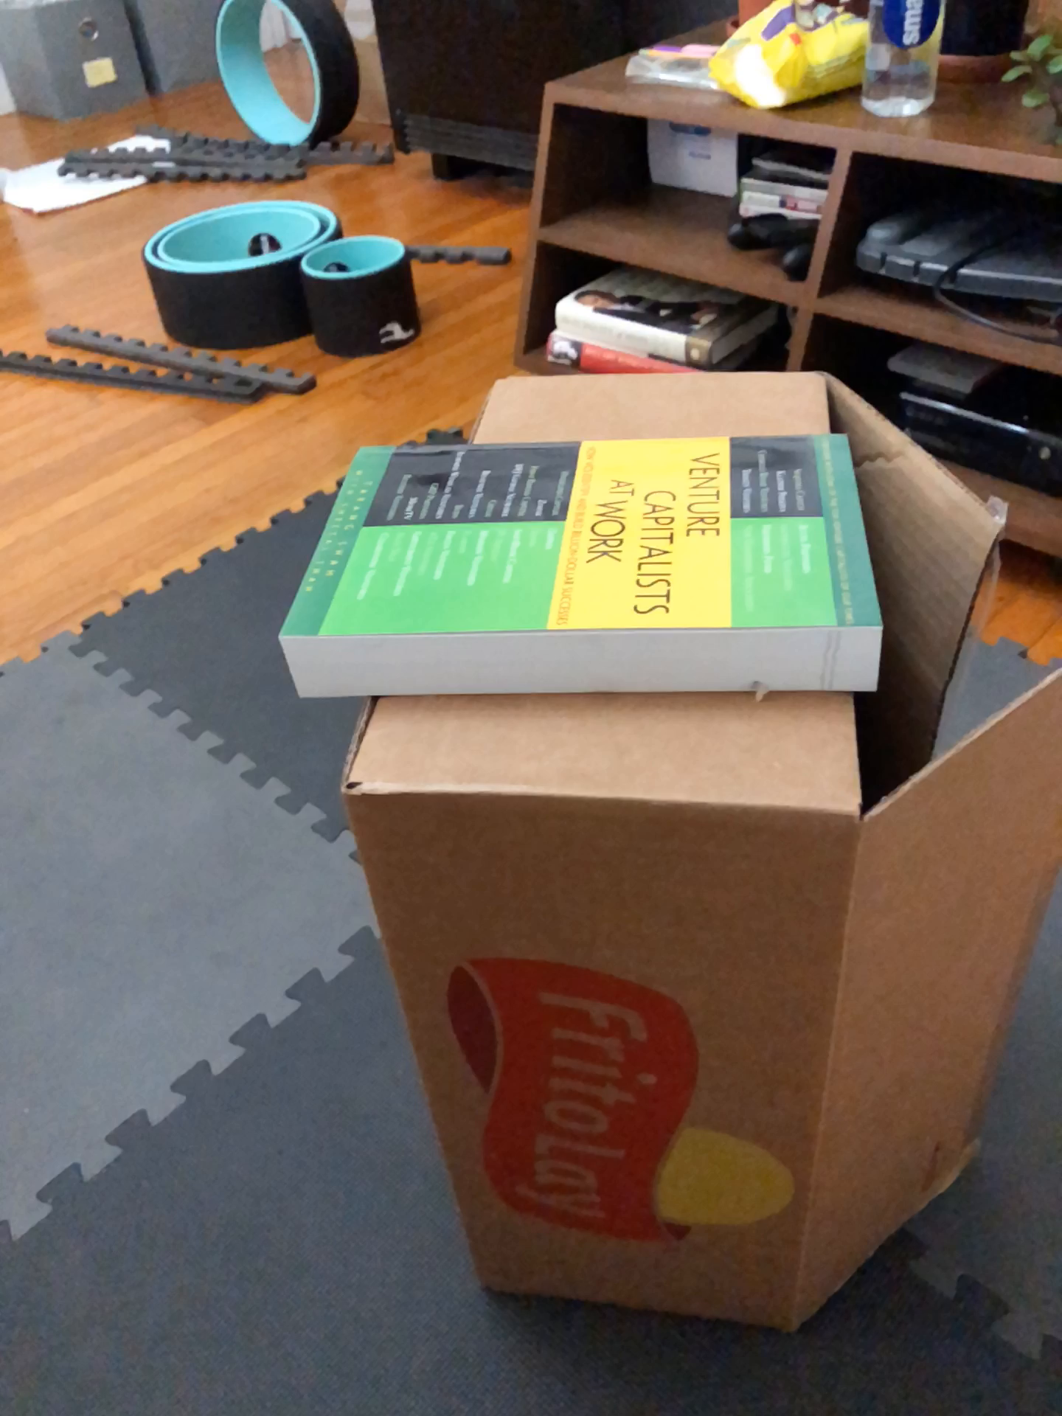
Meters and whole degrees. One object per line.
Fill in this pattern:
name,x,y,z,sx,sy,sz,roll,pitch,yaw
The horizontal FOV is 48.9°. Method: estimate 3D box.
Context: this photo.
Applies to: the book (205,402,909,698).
book,0.015,-0.071,0.500,0.260,0.040,0.161,0,40,9
